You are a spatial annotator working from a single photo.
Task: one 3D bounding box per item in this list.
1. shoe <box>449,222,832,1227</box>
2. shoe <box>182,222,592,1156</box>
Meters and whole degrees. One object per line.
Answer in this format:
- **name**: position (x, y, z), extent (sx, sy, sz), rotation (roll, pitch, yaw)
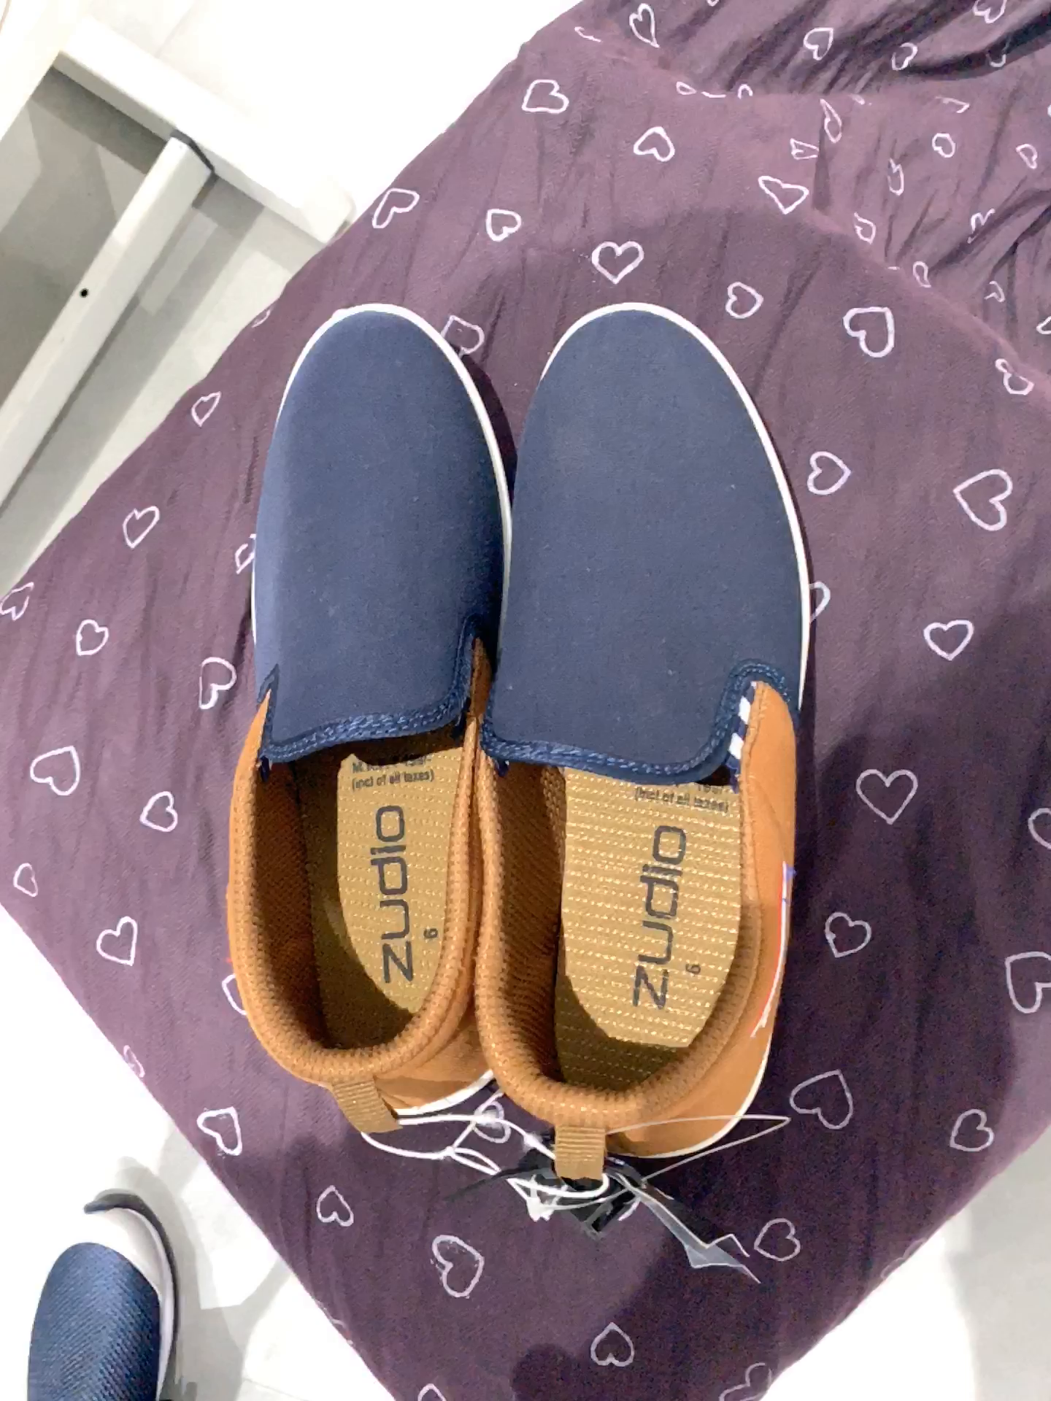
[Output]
- **shoe**: position (0.037, 0.003, 0.327), extent (0.100, 0.060, 0.270), rotation (0, 83, 12)
- **shoe**: position (-0.045, -0.004, 0.349), extent (0.100, 0.060, 0.270), rotation (-7, 82, 11)
